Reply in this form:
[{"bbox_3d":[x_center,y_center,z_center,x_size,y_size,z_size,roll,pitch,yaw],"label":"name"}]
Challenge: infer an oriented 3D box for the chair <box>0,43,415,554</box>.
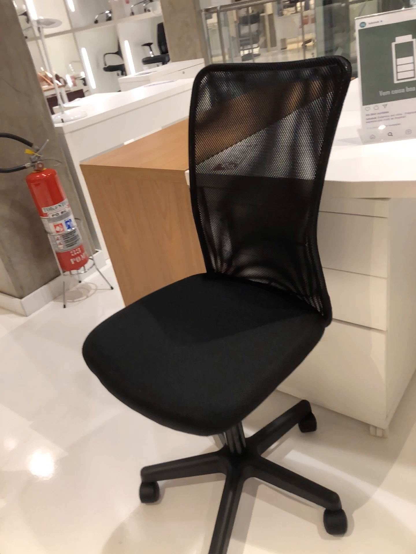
[{"bbox_3d":[-0.001,0.100,0.949,0.572,0.923,0.562,-32,35,-32],"label":"chair"}]
